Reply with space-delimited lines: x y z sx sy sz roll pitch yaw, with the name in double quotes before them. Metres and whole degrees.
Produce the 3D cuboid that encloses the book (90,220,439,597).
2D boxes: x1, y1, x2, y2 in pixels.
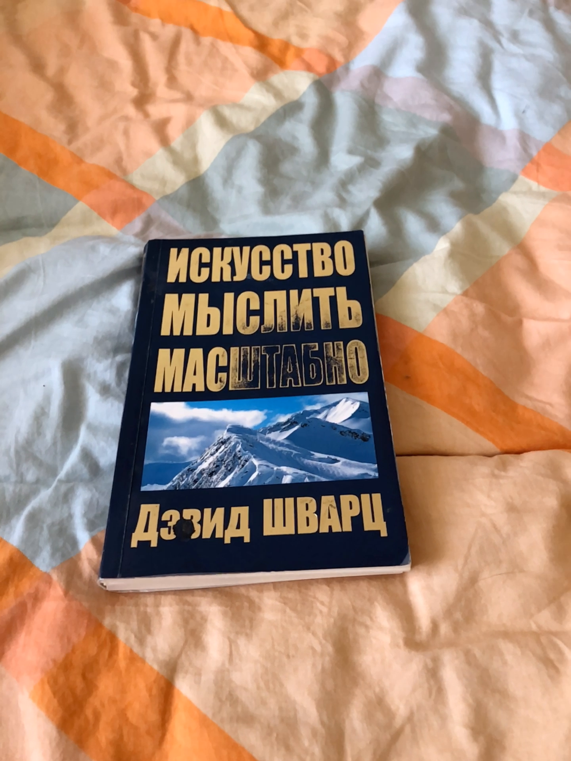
"book" -0.009 0.000 0.297 0.127 0.028 0.189 -2 53 1
